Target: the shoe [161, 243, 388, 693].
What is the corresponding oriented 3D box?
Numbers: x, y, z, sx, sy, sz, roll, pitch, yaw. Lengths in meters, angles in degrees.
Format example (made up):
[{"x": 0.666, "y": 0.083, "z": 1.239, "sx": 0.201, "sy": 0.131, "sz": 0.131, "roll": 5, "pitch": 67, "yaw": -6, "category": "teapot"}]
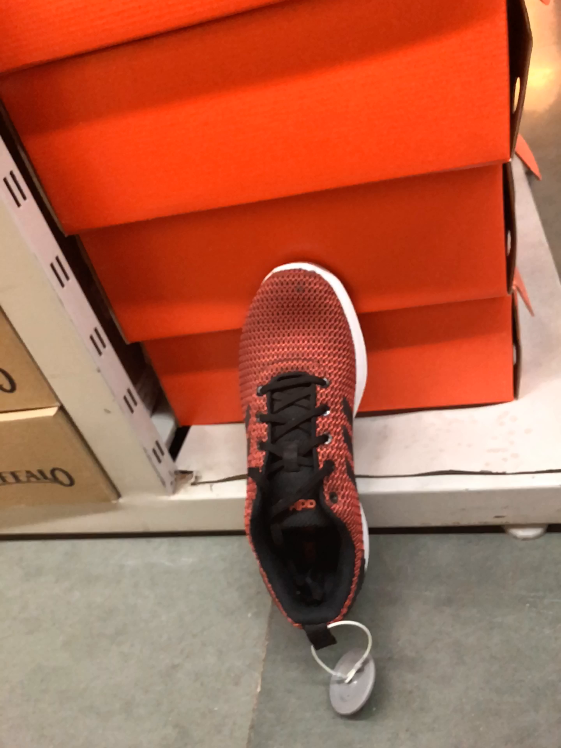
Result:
[{"x": 0.006, "y": 0.056, "z": 0.448, "sx": 0.110, "sy": 0.271, "sz": 0.133, "roll": -4, "pitch": 5, "yaw": 15, "category": "shoe"}]
